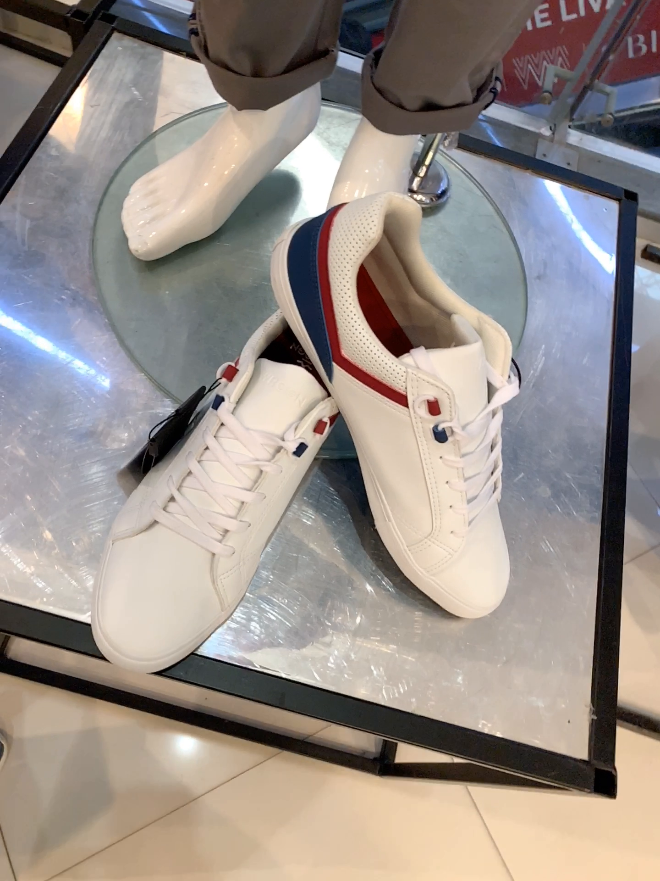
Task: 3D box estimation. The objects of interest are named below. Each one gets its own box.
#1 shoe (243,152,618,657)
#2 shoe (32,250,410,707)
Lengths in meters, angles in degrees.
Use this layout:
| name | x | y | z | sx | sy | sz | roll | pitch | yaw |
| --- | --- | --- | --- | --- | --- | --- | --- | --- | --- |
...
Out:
| name | x | y | z | sx | sy | sz | roll | pitch | yaw |
| --- | --- | --- | --- | --- | --- | --- | --- | --- | --- |
| shoe | 0.059 | -0.021 | 0.434 | 0.100 | 0.100 | 0.280 | -23 | 90 | -29 |
| shoe | -0.064 | 0.020 | 0.461 | 0.100 | 0.100 | 0.281 | 32 | 65 | -5 |
